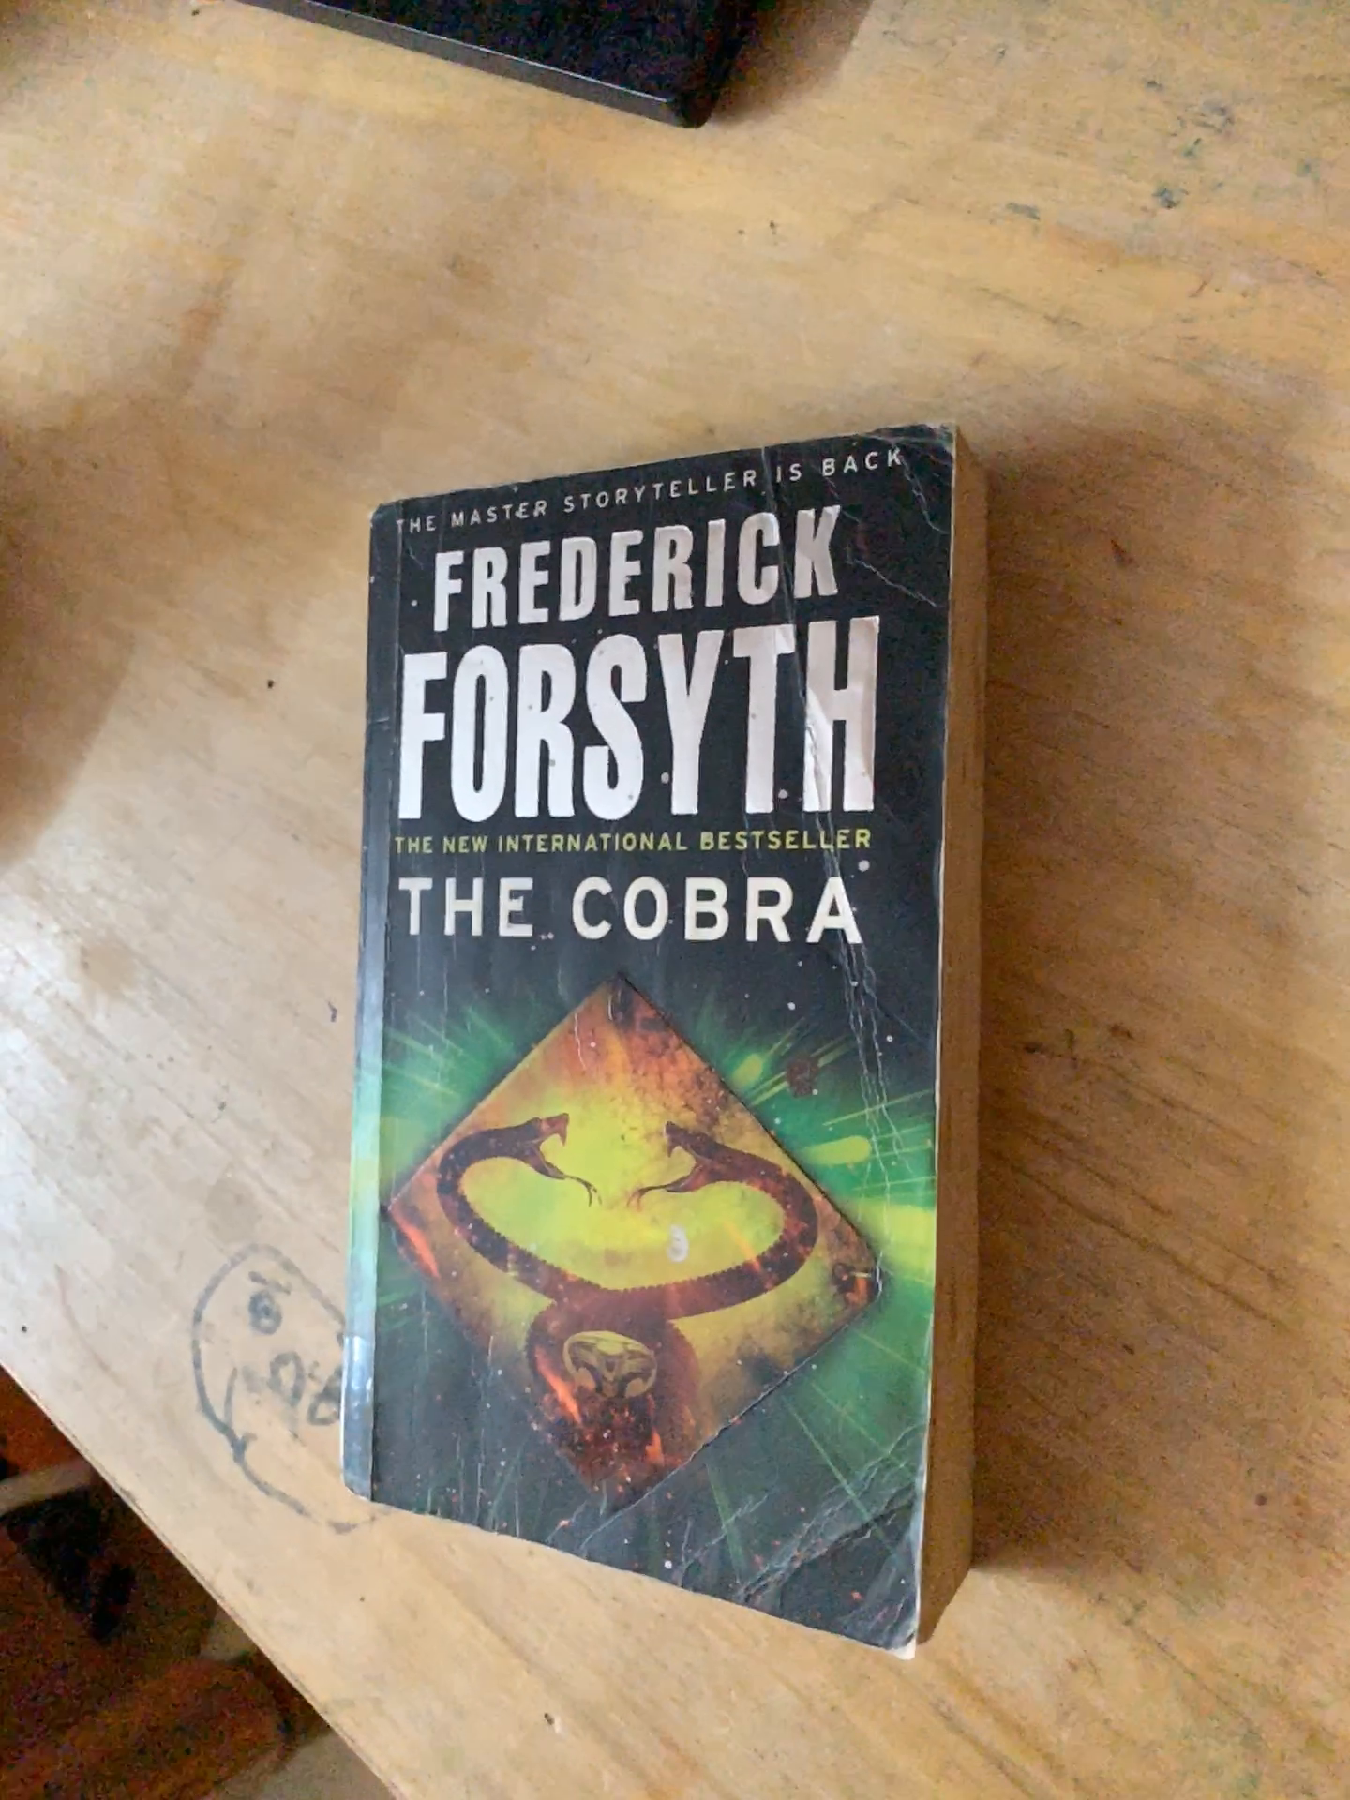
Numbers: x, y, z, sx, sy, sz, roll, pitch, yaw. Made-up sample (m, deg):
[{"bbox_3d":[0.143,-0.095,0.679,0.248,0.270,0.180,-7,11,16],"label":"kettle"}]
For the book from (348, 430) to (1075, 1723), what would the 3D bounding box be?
[{"bbox_3d":[0.005,0.021,0.216,0.100,0.040,0.160,0,87,28],"label":"book"}]
